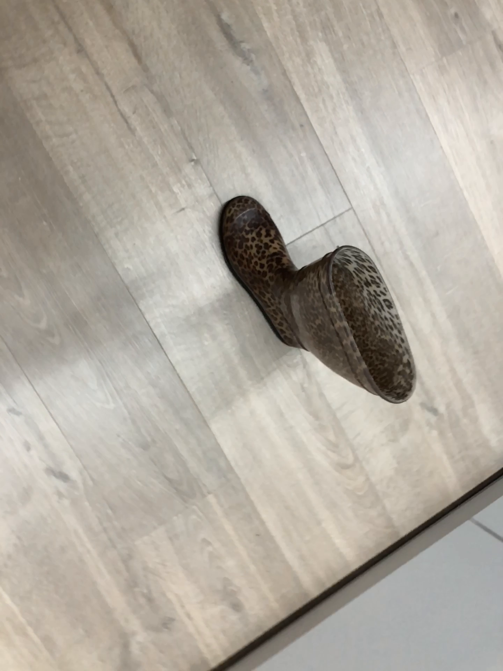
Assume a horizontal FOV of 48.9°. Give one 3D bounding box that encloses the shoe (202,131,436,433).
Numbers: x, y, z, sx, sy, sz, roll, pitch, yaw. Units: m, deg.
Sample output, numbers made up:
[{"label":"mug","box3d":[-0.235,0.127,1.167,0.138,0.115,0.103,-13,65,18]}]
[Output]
[{"label":"shoe","box3d":[0.057,-0.060,0.704,0.090,0.340,0.280,-25,99,-10]}]
